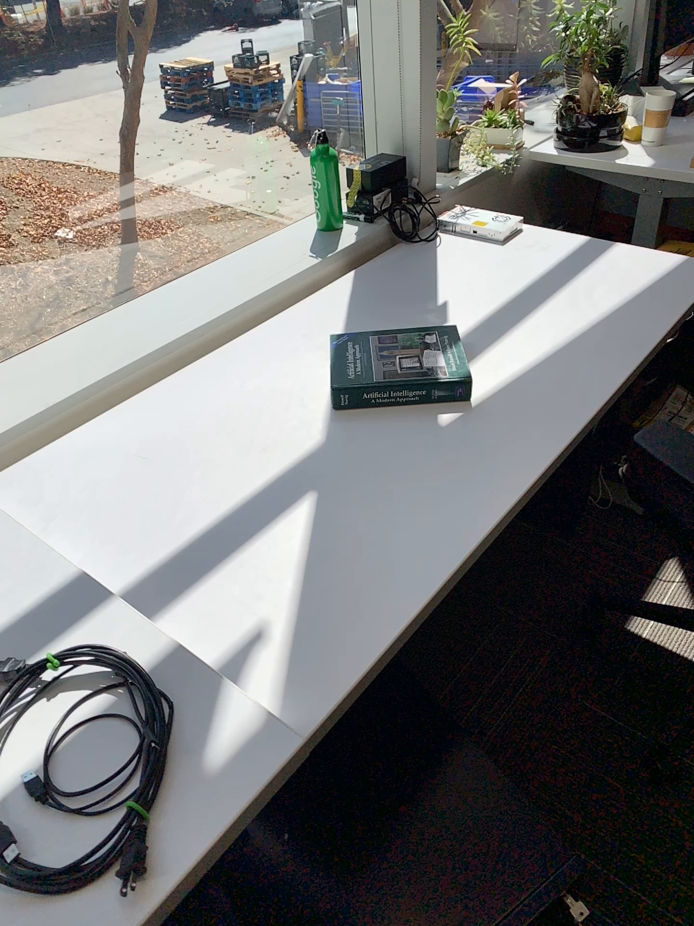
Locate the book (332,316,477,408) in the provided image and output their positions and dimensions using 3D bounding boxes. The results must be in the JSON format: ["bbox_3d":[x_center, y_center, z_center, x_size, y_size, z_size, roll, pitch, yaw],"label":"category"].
[{"bbox_3d":[0.104,-0.203,1.388,0.260,0.050,0.231,-4,38,1],"label":"book"}]
